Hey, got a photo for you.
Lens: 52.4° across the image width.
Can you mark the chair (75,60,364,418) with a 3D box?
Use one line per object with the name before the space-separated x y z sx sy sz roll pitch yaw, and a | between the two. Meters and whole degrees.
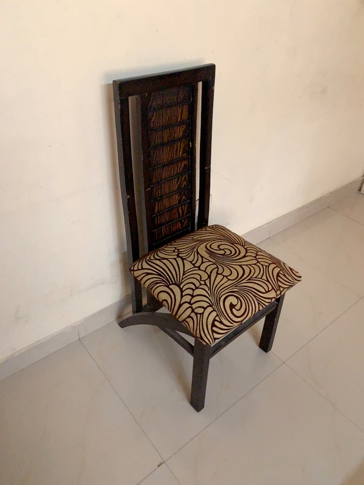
chair | 0.079 -0.032 1.255 0.532 0.922 0.583 -27 46 -34
